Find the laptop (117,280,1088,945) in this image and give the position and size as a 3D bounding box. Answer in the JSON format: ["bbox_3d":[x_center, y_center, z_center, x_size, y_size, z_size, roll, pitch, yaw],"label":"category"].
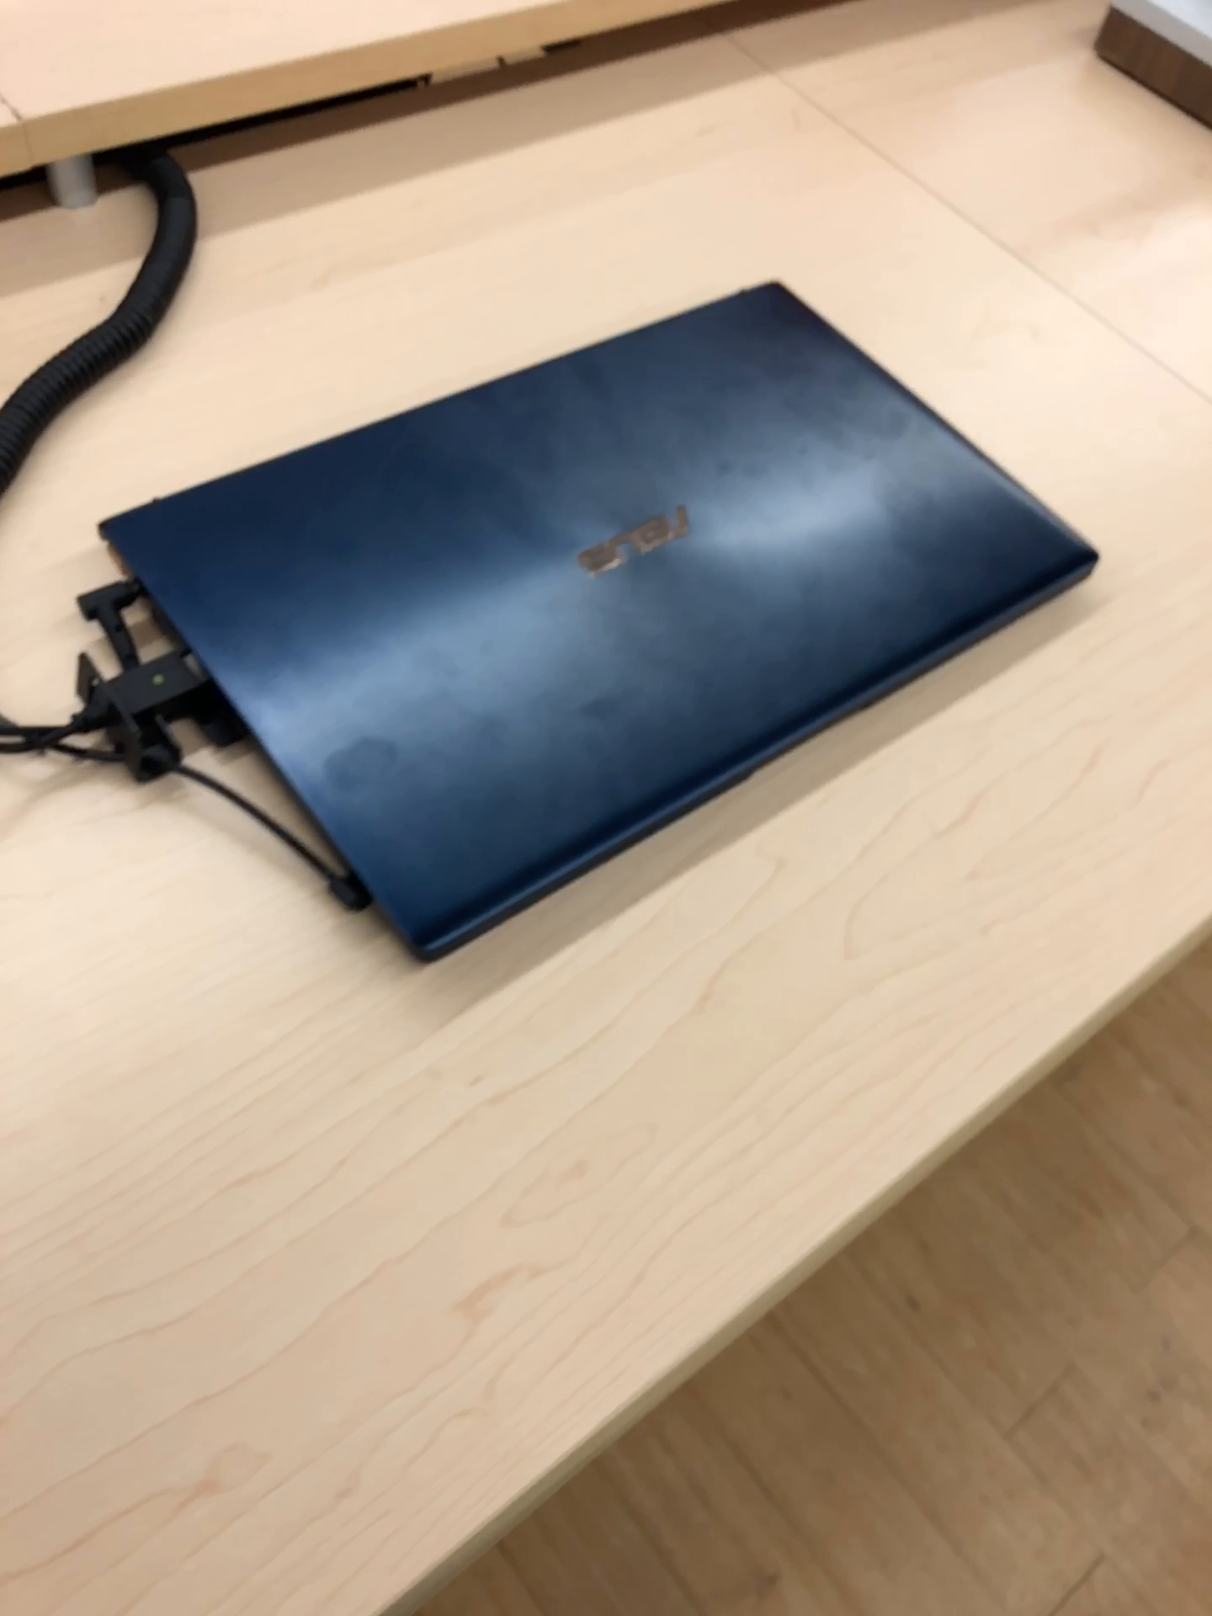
[{"bbox_3d":[0.011,-0.092,0.468,0.296,0.001,0.177,-29,66,-27],"label":"laptop"}]
